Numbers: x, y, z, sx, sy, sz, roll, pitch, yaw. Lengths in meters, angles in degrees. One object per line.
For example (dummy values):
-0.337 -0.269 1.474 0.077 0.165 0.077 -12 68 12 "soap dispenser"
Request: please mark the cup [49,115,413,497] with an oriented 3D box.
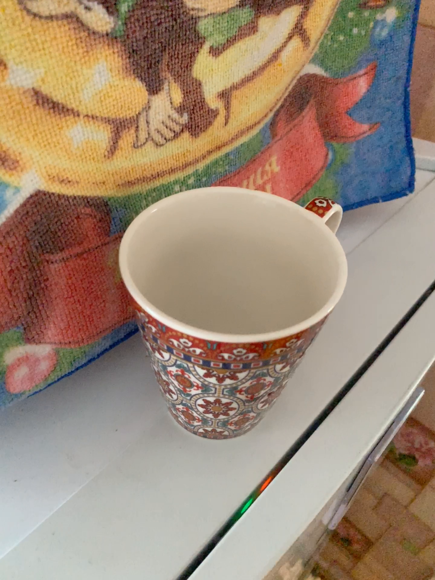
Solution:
0.011 0.000 0.215 0.090 0.101 0.125 29 51 24 "cup"
